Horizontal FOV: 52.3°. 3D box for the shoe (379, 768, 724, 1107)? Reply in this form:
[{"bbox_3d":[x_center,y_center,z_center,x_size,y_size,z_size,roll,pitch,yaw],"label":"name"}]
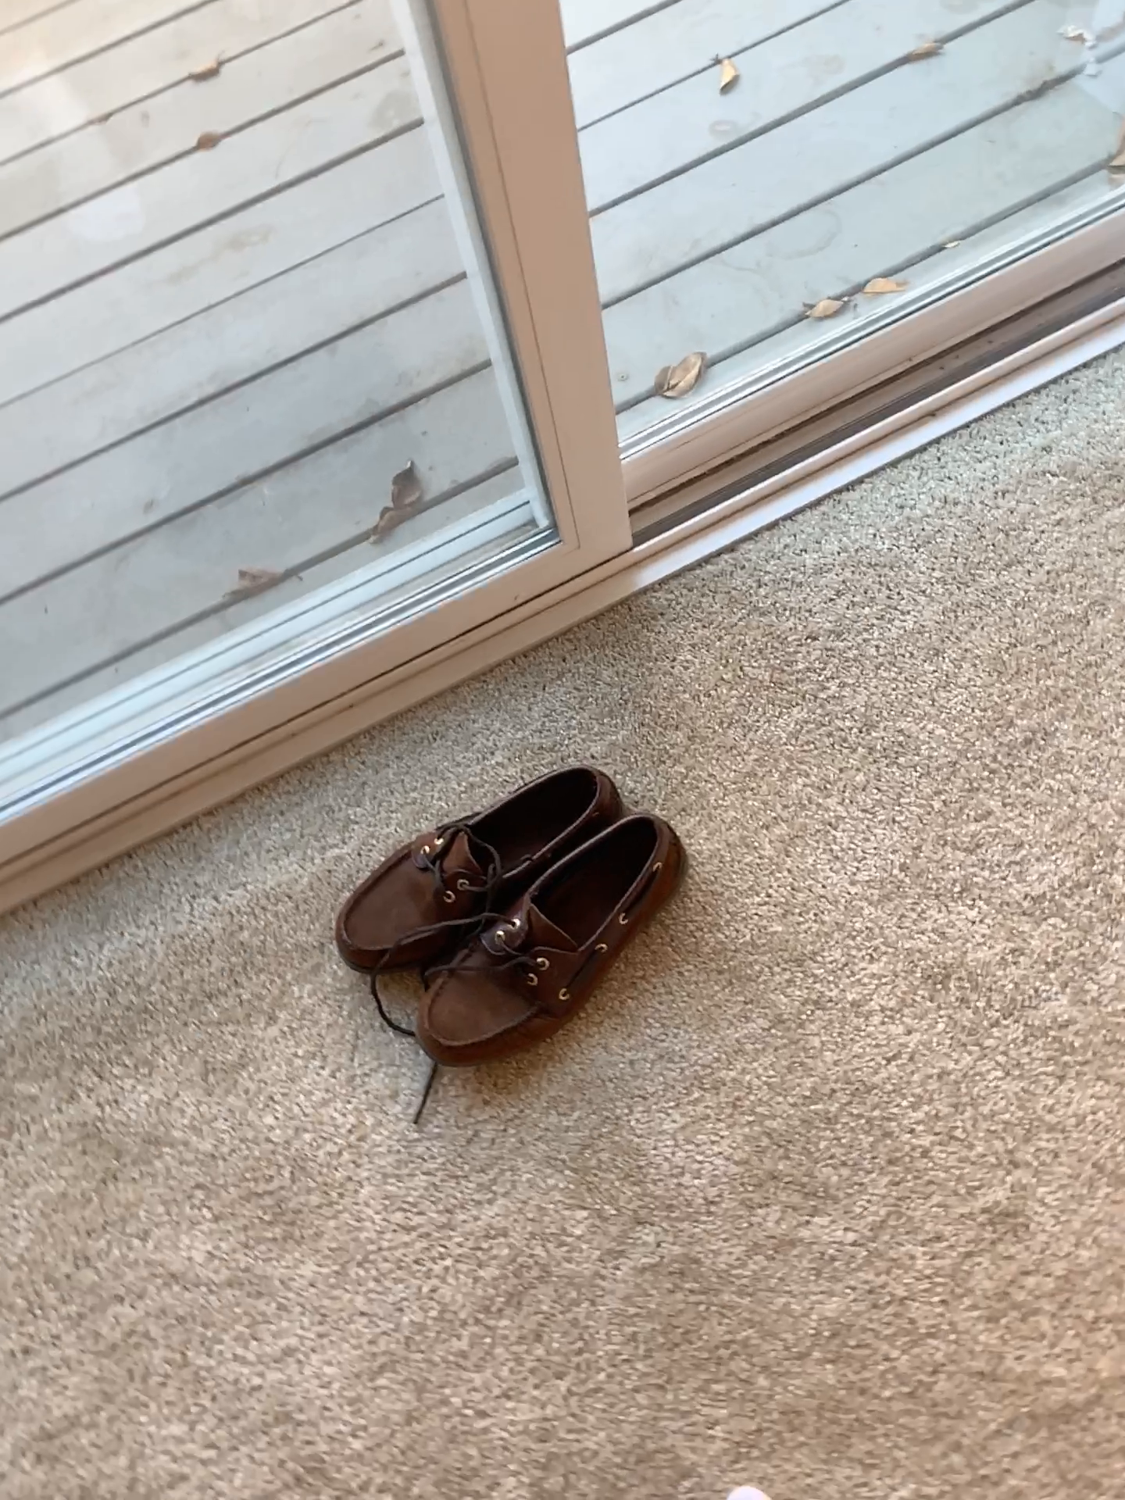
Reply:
[{"bbox_3d":[-0.002,0.161,0.985,0.290,0.100,0.100,-41,67,-10],"label":"shoe"}]

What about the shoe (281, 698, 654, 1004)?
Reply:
[{"bbox_3d":[-0.079,0.091,1.021,0.300,0.100,0.110,-30,66,-5],"label":"shoe"}]
